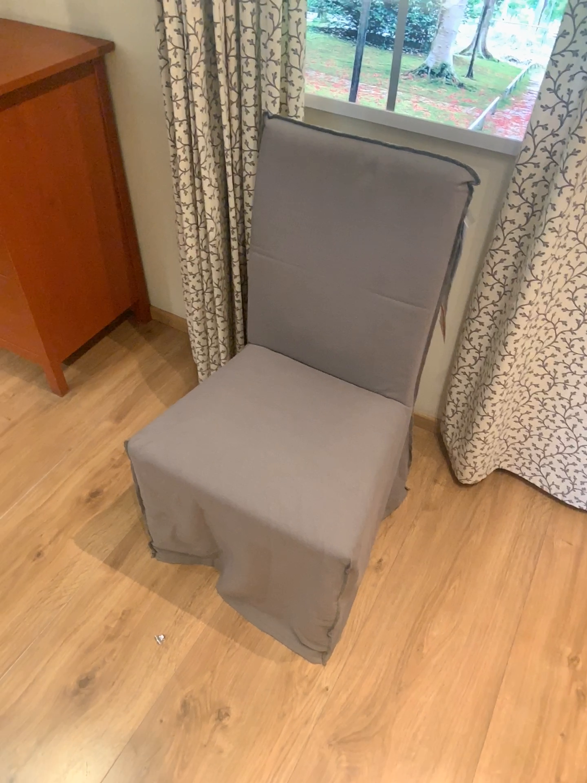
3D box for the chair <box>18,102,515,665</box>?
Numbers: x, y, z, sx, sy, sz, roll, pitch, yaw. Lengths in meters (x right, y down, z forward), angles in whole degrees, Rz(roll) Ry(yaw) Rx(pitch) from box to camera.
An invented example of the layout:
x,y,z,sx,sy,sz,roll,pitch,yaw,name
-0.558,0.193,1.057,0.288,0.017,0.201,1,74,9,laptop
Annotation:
x,y,z,sx,sy,sz,roll,pitch,yaw,name
-0.018,-0.006,1.264,0.571,0.877,0.592,23,48,20,chair
